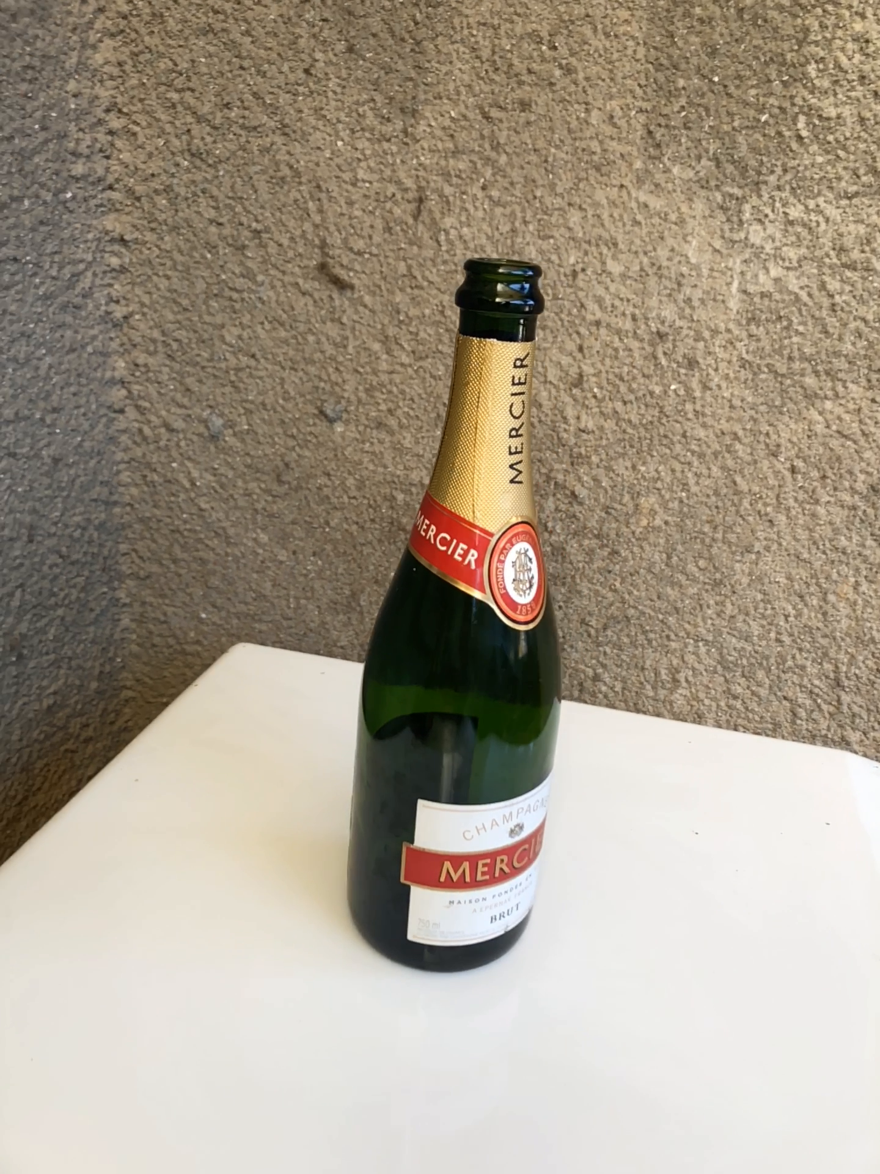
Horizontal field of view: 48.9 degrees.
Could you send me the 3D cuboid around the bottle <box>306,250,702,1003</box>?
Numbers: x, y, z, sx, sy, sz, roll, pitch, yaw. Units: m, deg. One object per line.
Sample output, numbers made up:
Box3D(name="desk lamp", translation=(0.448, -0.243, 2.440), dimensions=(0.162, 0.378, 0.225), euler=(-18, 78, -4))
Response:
Box3D(name="bottle", translation=(0.015, 0.016, 0.410), dimensions=(0.100, 0.288, 0.090), euler=(-11, 27, -35))
